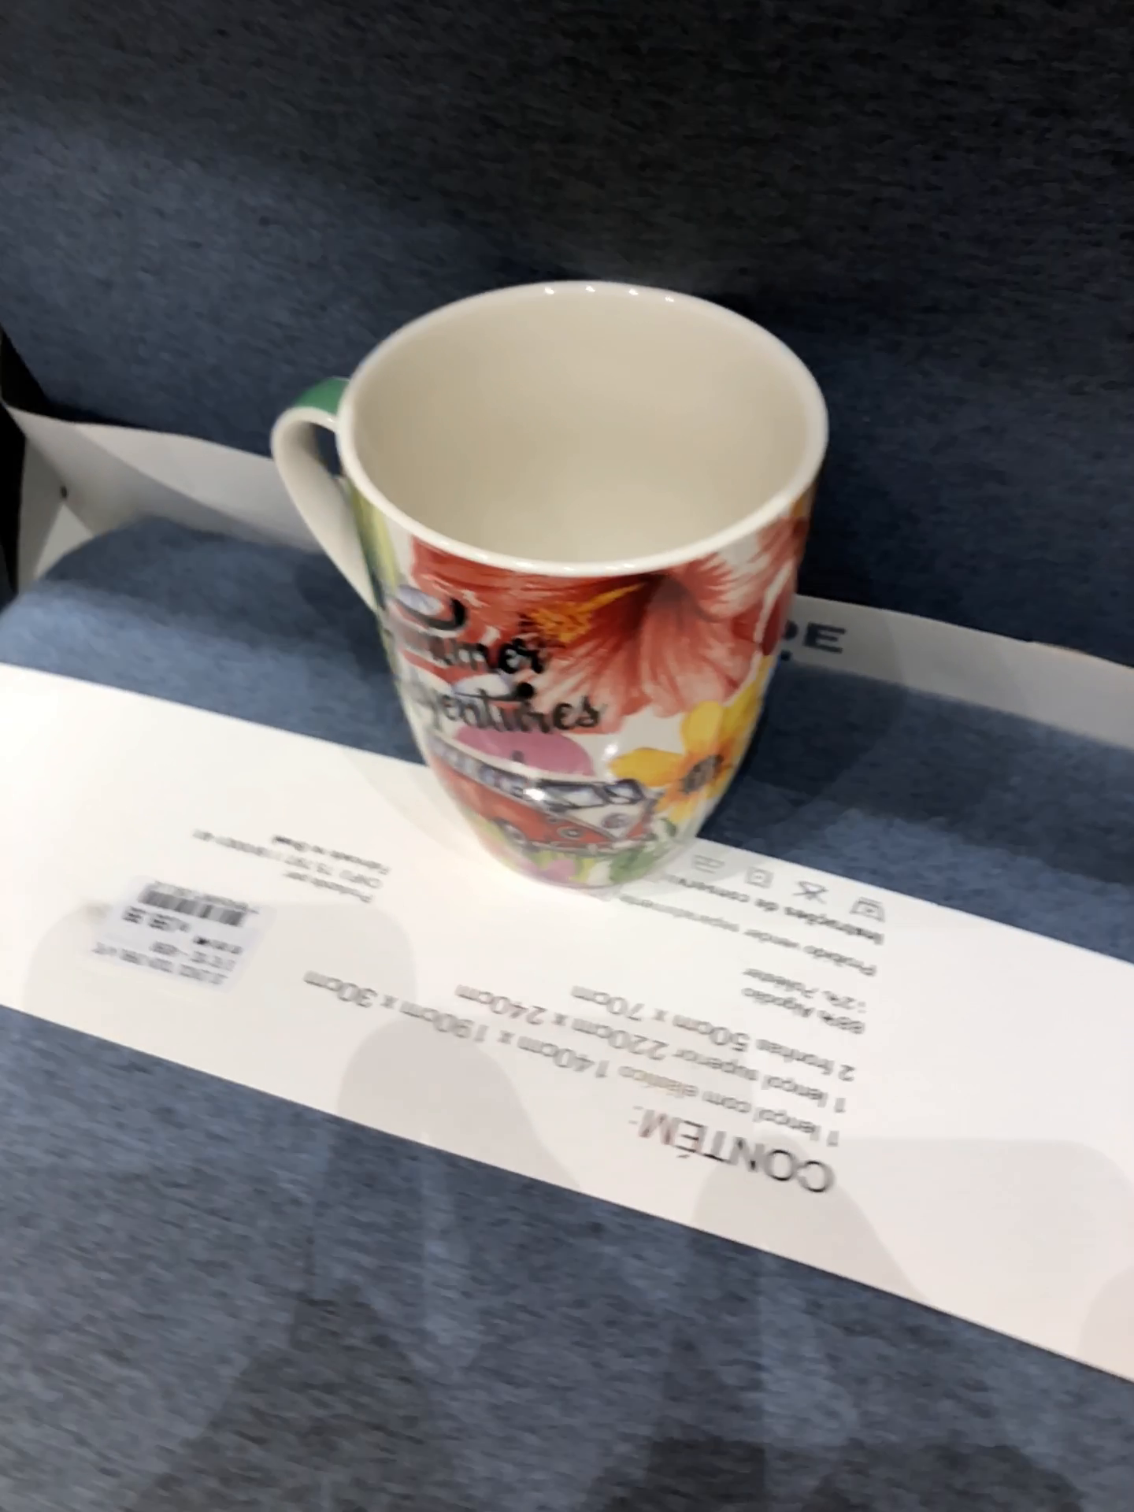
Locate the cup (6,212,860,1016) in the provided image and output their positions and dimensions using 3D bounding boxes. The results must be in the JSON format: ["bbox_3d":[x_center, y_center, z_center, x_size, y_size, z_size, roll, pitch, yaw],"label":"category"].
[{"bbox_3d":[-0.017,-0.029,0.238,0.110,0.090,0.090,17,48,13],"label":"cup"}]
